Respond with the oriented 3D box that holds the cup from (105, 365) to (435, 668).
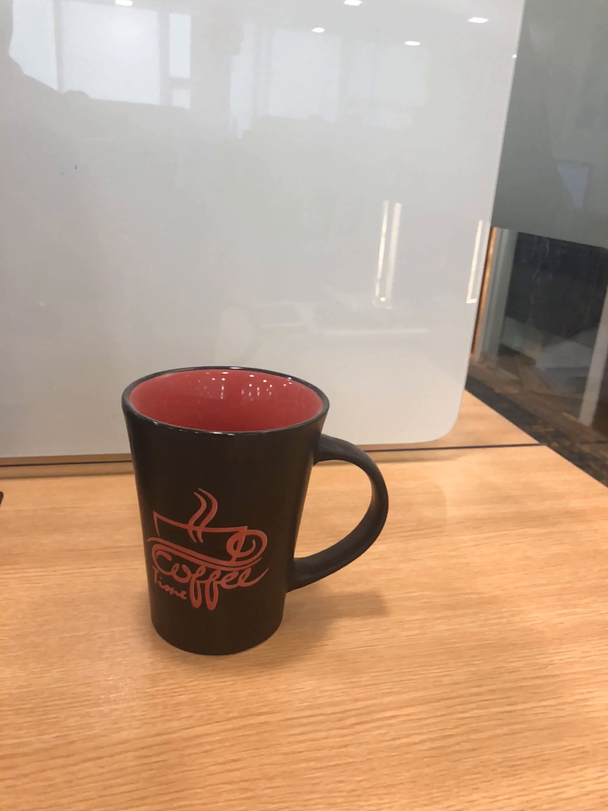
[{"bbox_3d":[-0.017,0.045,0.305,0.120,0.100,0.090,3,19,-4],"label":"cup"}]
